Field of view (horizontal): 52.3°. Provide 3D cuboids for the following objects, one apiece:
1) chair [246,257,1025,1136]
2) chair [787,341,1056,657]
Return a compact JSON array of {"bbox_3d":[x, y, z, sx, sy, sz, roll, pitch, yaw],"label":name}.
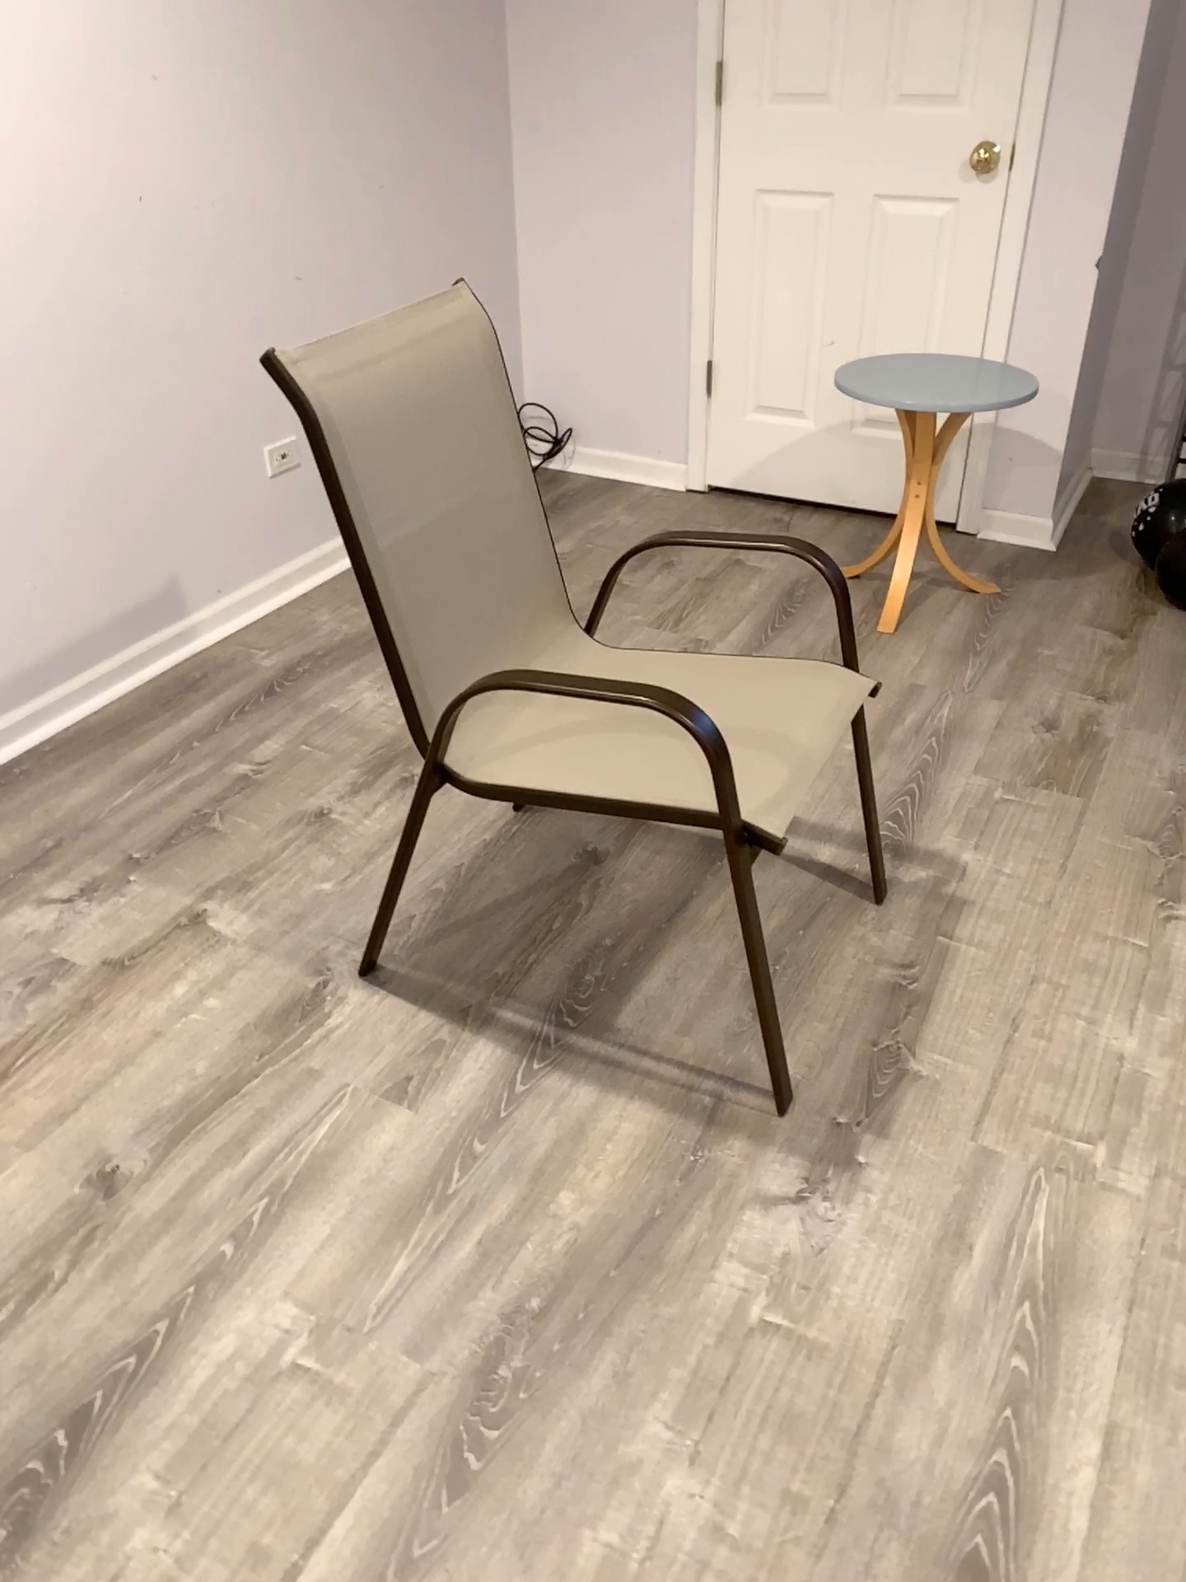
[{"bbox_3d":[0.079,-0.167,1.592,0.715,0.873,0.569,14,35,21],"label":"chair"},{"bbox_3d":[0.725,-0.662,2.682,0.434,0.526,0.427,14,35,21],"label":"chair"}]
